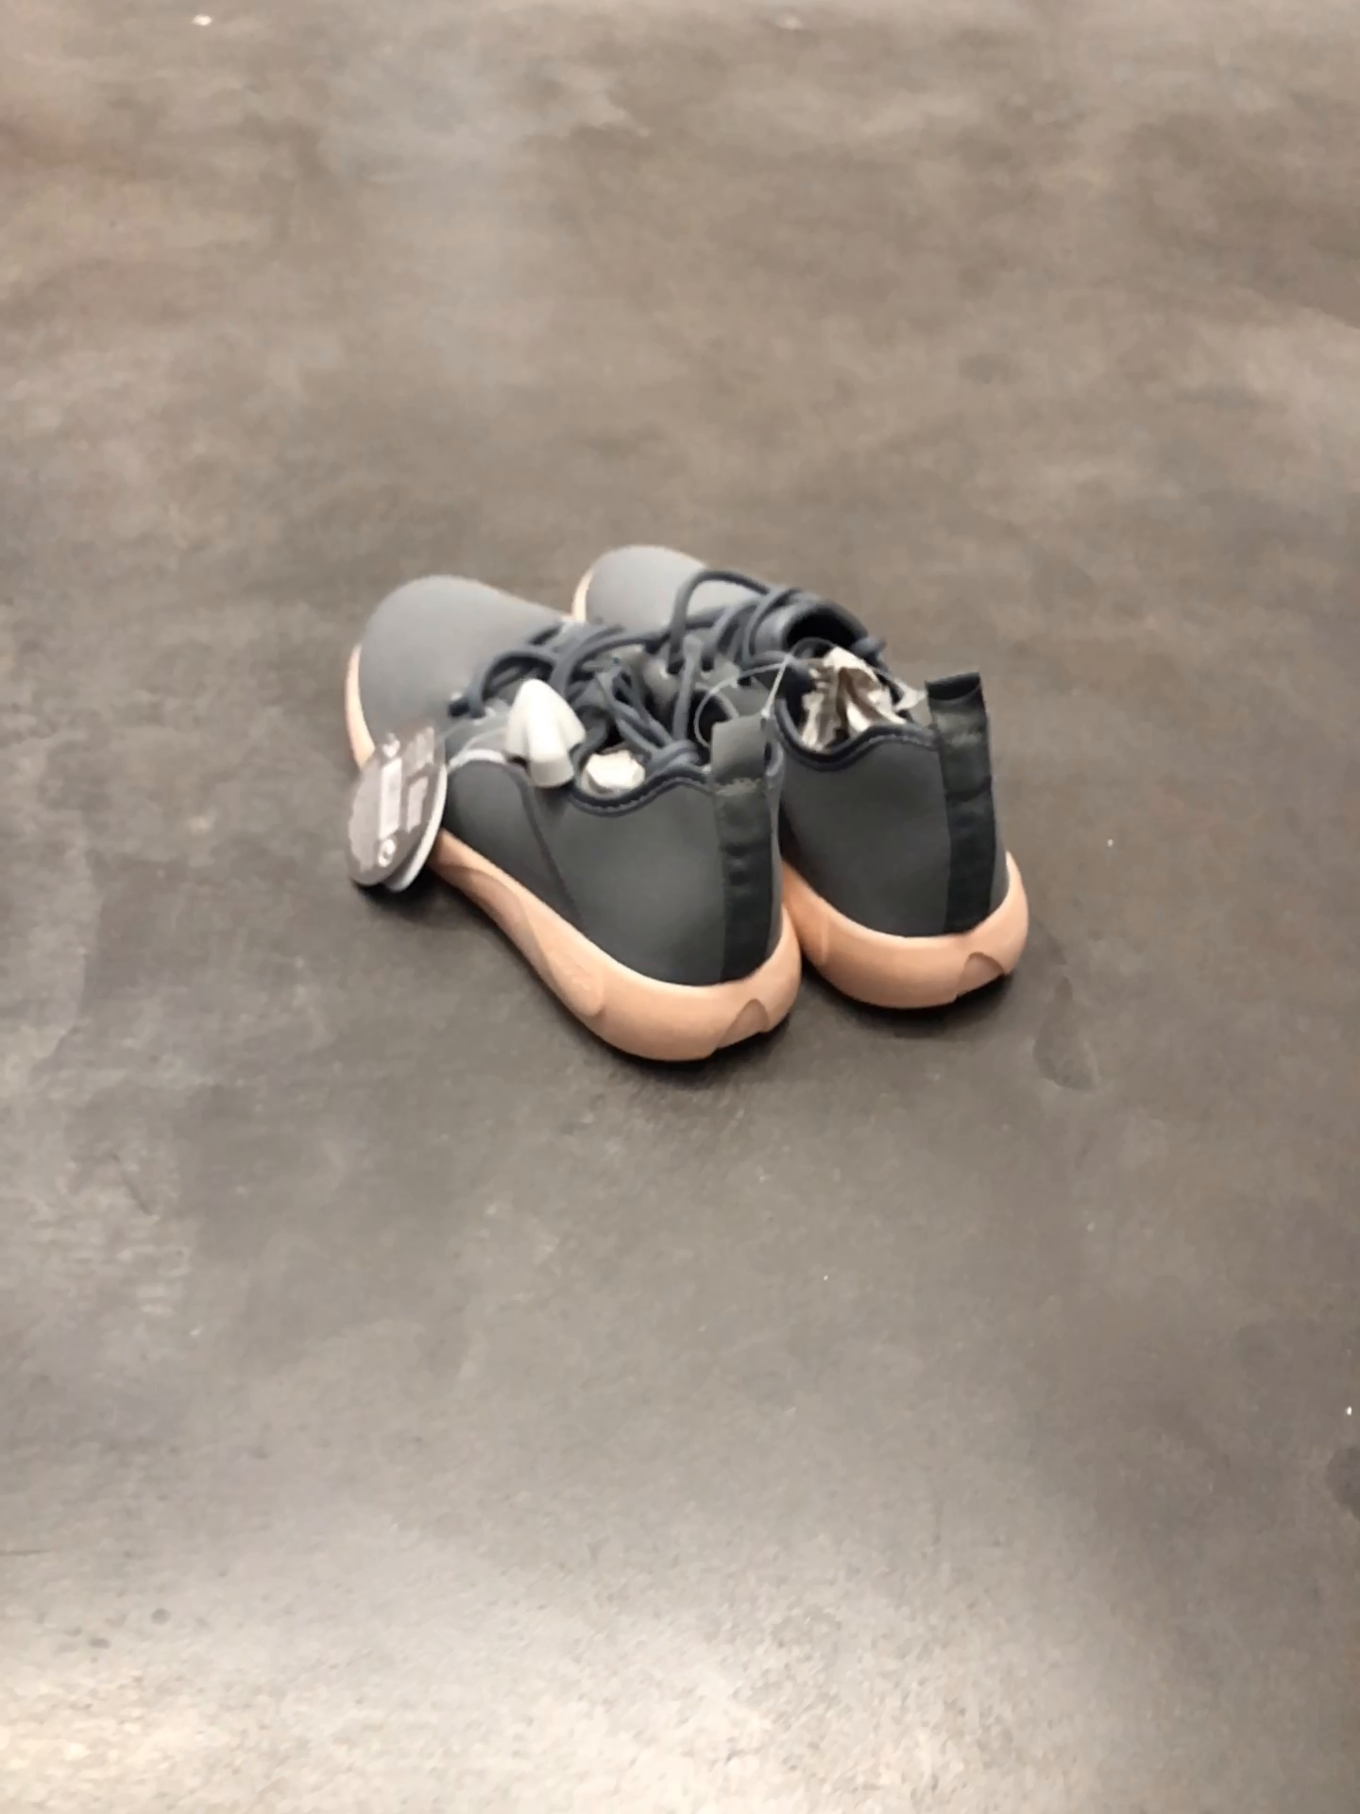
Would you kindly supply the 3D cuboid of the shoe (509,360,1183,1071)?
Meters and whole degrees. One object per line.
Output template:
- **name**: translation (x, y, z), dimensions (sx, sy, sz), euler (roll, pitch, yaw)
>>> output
- **shoe**: translation (0.037, -0.077, 0.504), dimensions (0.090, 0.099, 0.241), euler (-21, 50, -22)

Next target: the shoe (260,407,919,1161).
- **shoe**: translation (-0.040, -0.053, 0.484), dimensions (0.090, 0.099, 0.241), euler (-22, 50, -23)
